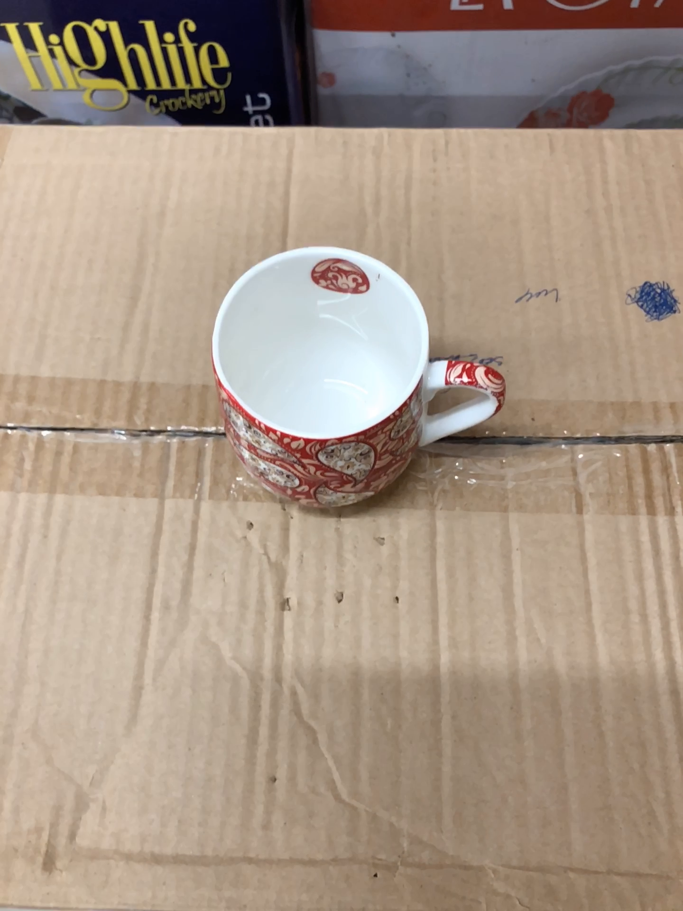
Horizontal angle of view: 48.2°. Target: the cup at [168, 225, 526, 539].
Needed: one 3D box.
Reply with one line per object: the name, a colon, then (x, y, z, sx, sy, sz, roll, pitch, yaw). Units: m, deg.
cup: (0.000, -0.020, 0.234, 0.090, 0.060, 0.070, -3, 63, -1)
